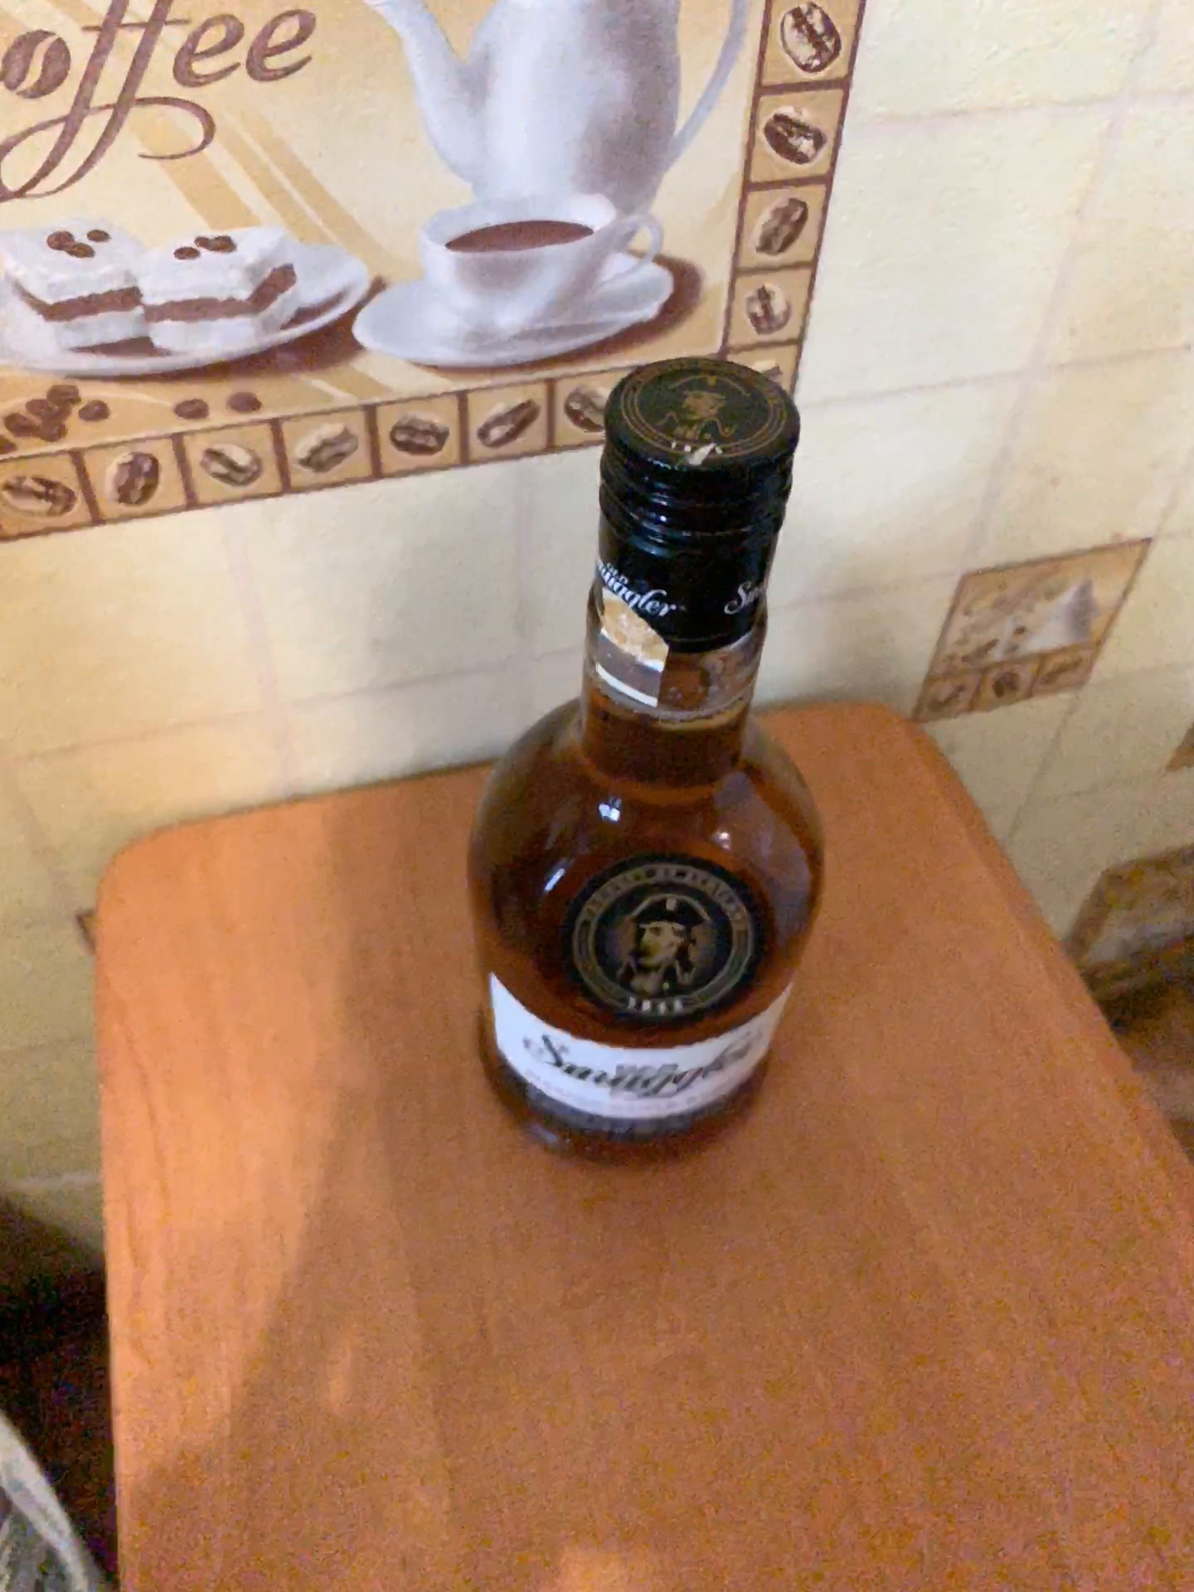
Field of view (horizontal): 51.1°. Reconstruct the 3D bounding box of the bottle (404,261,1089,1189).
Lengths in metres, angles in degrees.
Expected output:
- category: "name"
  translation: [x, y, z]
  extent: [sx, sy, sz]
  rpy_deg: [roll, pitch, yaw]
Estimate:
- category: "bottle"
  translation: [0.016, 0.006, 0.294]
  extent: [0.100, 0.229, 0.080]
  rpy_deg: [0, 50, -3]
